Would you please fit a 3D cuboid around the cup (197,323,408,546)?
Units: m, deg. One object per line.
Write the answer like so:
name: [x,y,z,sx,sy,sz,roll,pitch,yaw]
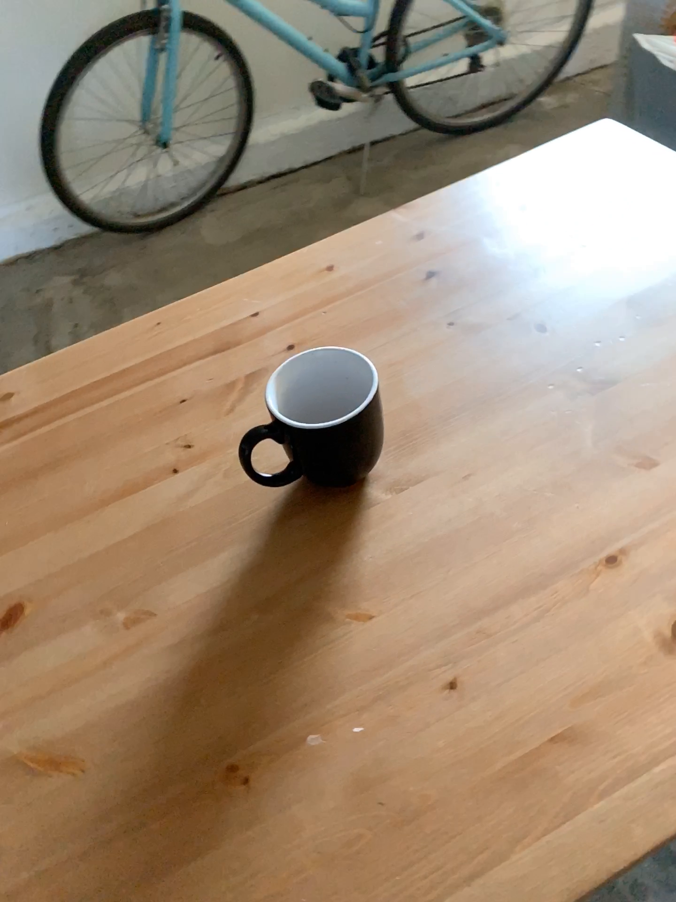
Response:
cup: [-0.027,-0.016,0.624,0.140,0.110,0.100,-35,53,-16]
